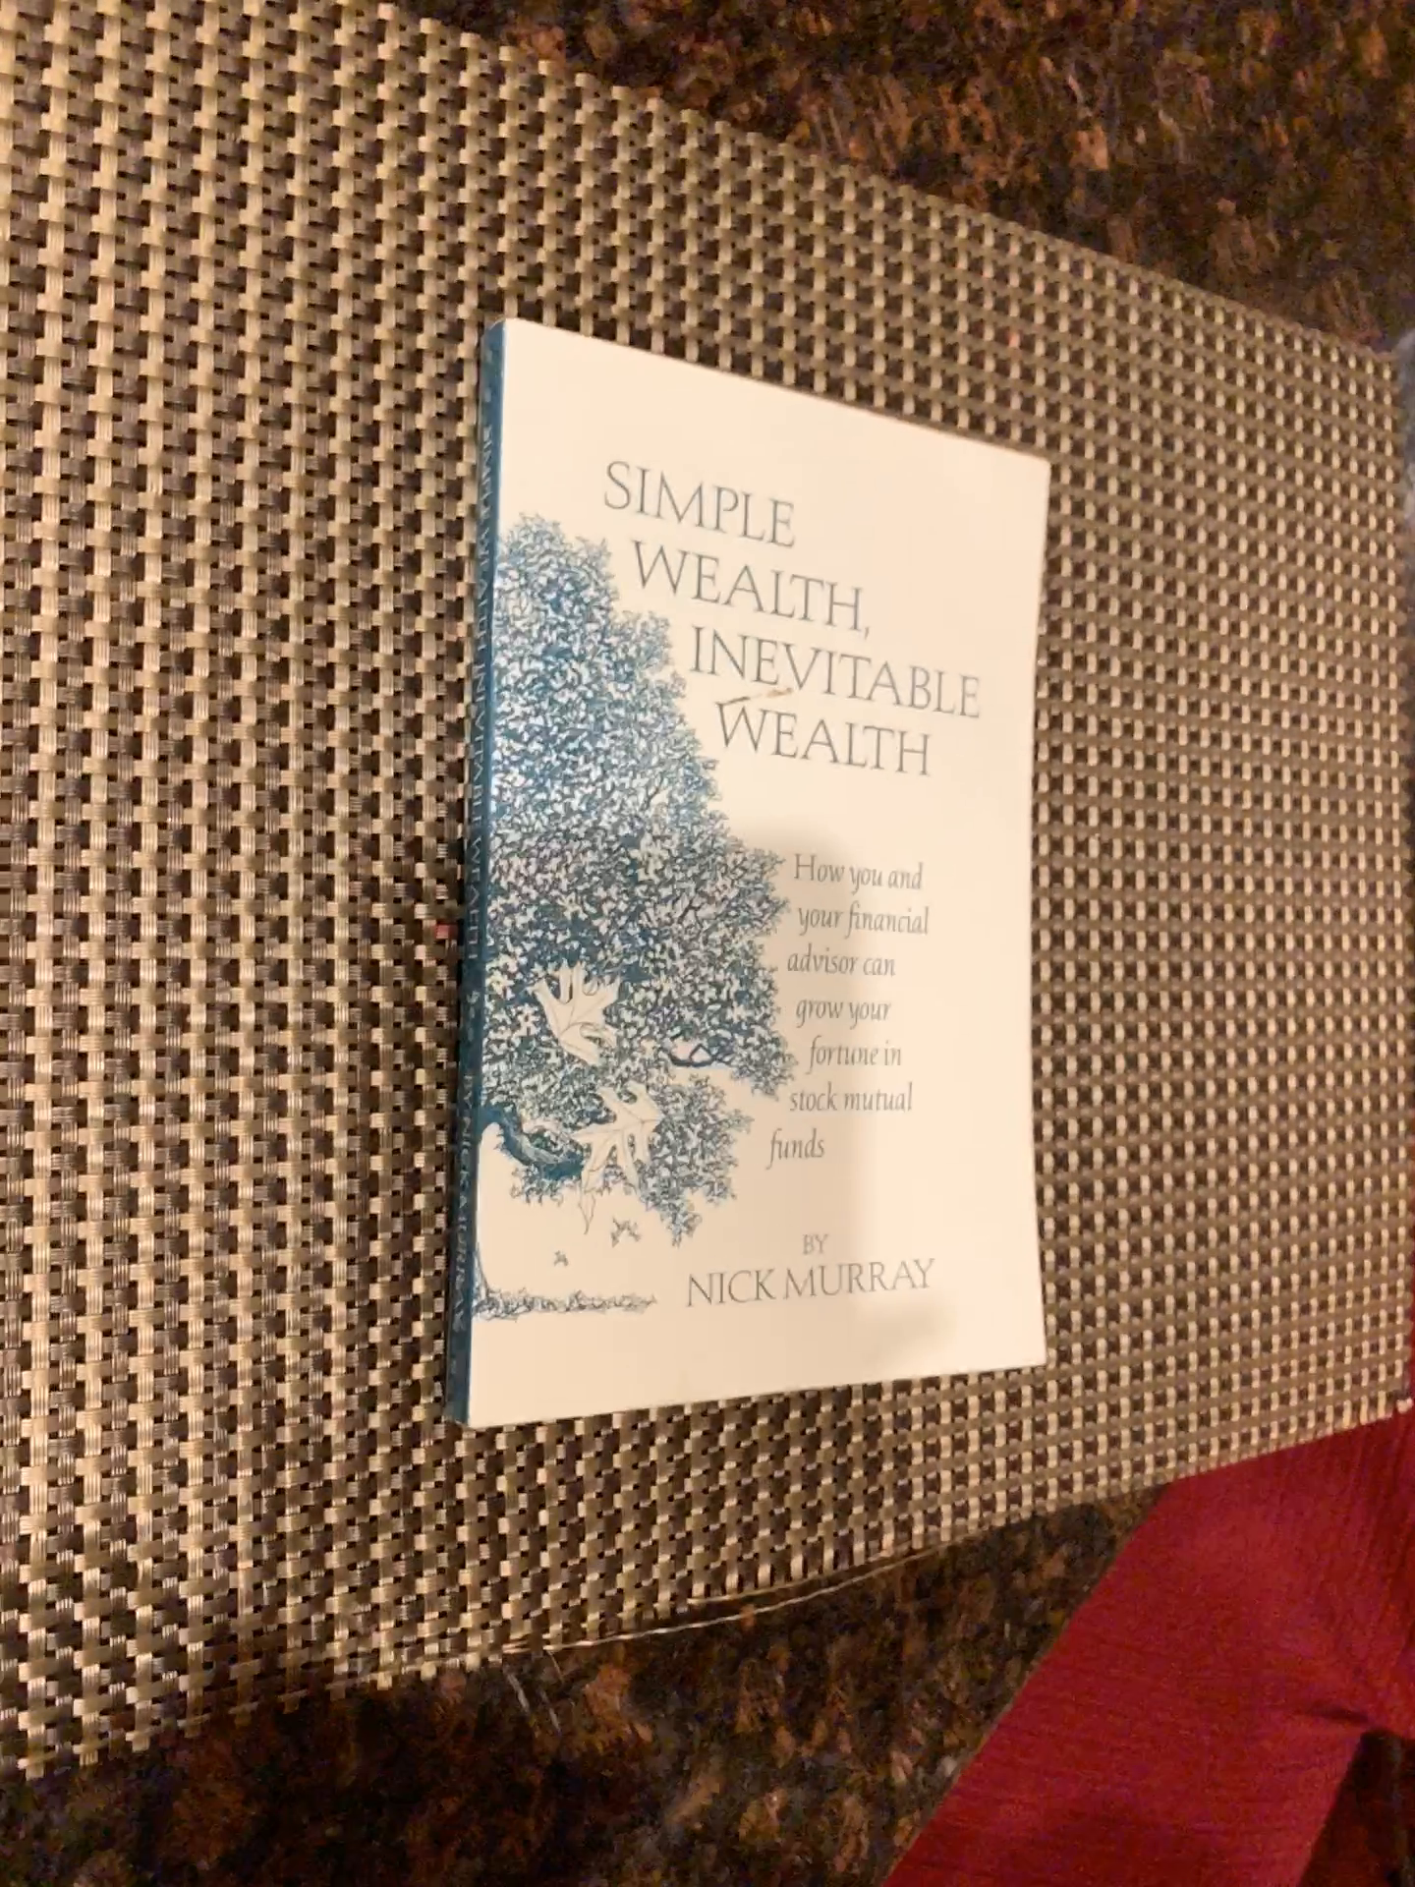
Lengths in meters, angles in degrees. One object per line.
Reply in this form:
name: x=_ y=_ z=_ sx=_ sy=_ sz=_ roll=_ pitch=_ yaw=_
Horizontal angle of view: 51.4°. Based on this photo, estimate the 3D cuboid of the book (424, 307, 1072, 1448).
book: x=0.015 y=-0.010 z=0.313 sx=0.141 sy=0.021 sz=0.210 roll=2 pitch=88 yaw=-29
